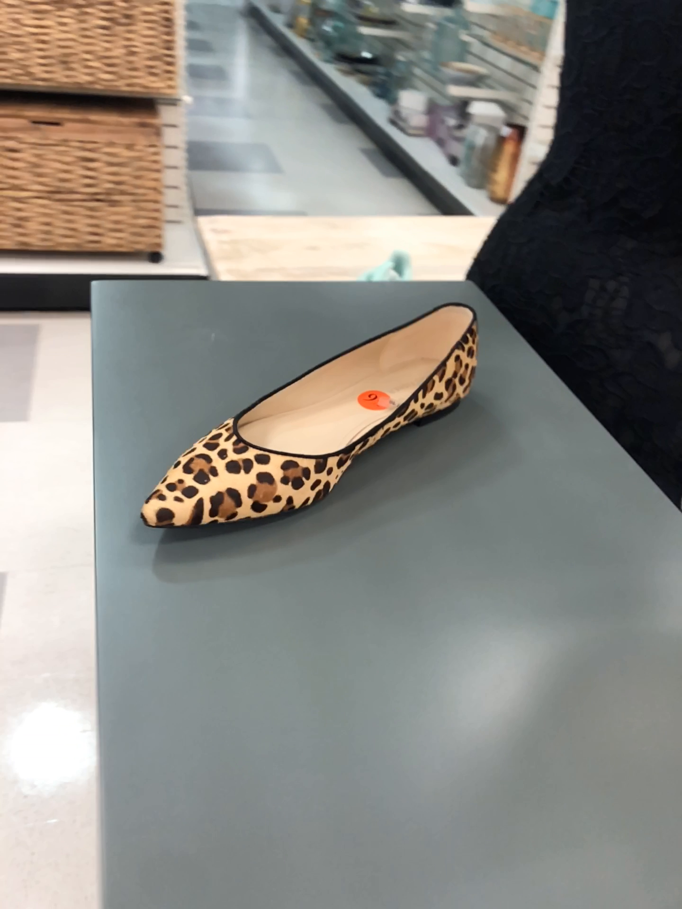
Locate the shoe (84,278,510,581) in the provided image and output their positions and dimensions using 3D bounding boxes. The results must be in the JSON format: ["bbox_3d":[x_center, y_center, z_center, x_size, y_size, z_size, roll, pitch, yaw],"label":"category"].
[{"bbox_3d":[-0.014,-0.036,0.502,0.097,0.073,0.287,33,43,31],"label":"shoe"}]
